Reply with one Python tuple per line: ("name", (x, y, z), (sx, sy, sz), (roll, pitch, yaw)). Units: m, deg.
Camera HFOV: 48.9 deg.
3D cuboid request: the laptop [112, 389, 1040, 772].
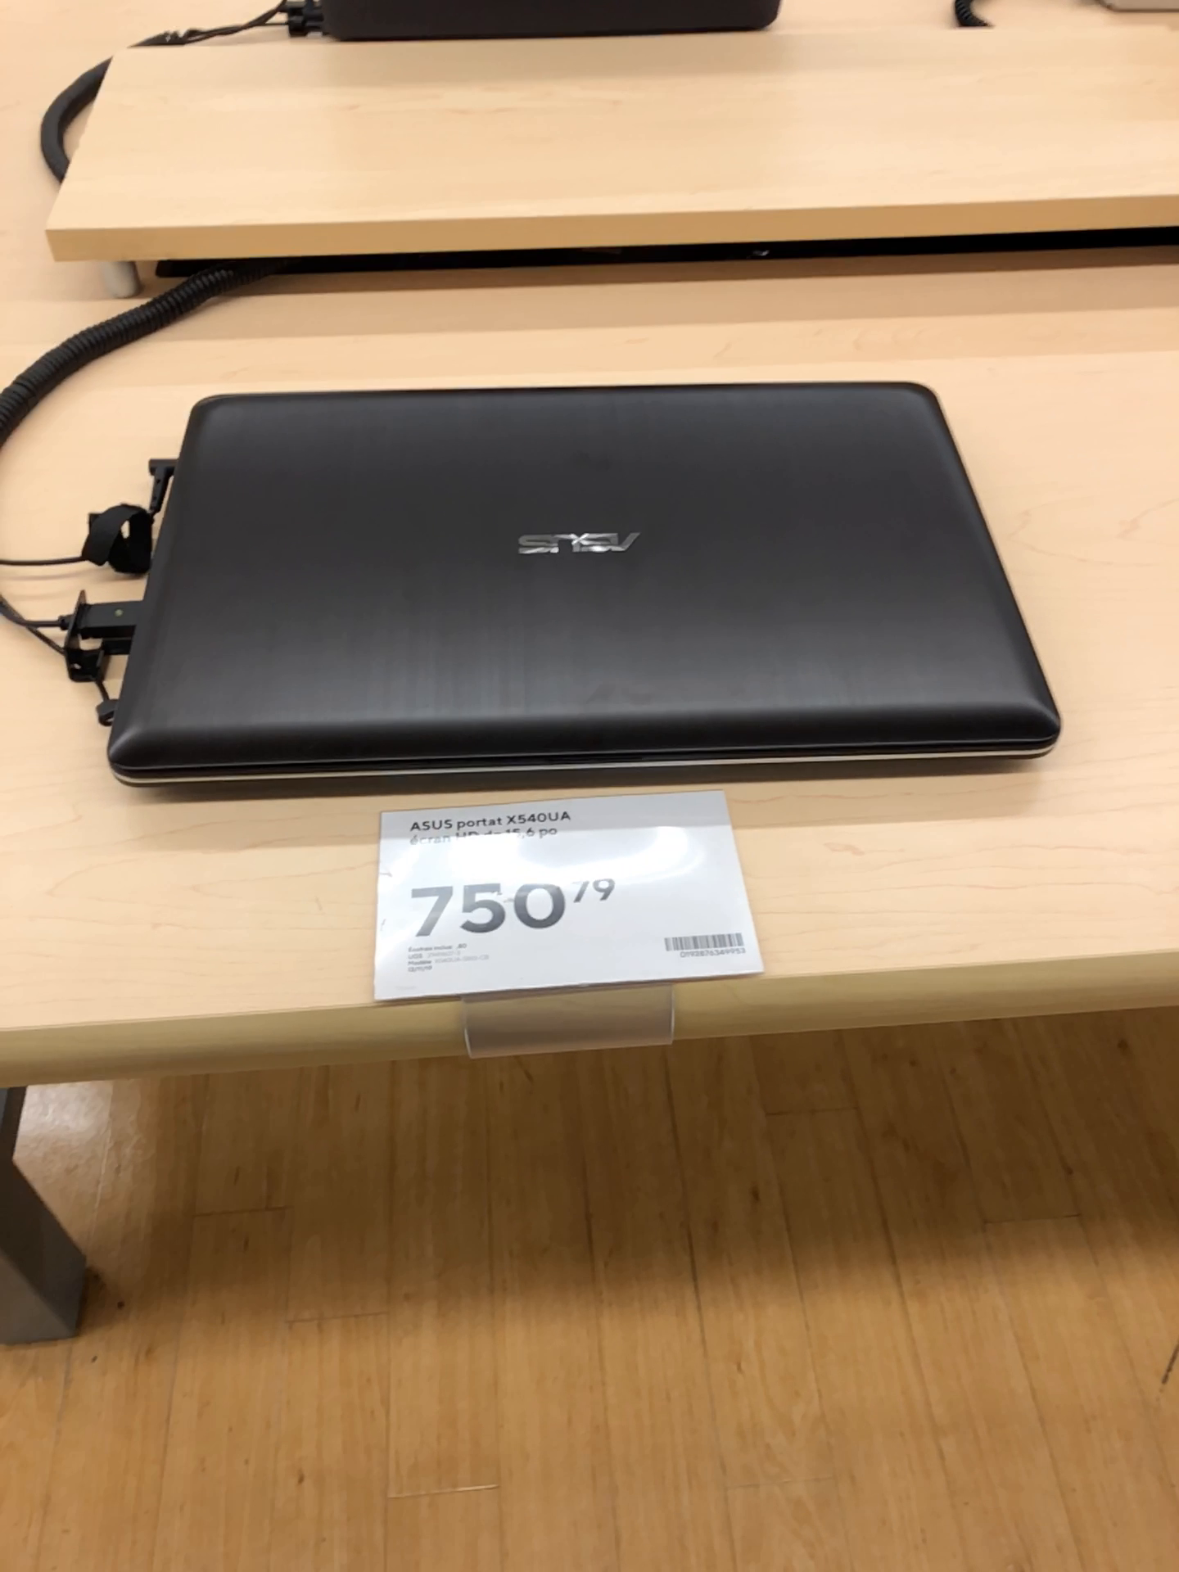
("laptop", (-0.007, -0.104, 0.588), (0.369, 0.010, 0.228), (-2, 52, -3))
